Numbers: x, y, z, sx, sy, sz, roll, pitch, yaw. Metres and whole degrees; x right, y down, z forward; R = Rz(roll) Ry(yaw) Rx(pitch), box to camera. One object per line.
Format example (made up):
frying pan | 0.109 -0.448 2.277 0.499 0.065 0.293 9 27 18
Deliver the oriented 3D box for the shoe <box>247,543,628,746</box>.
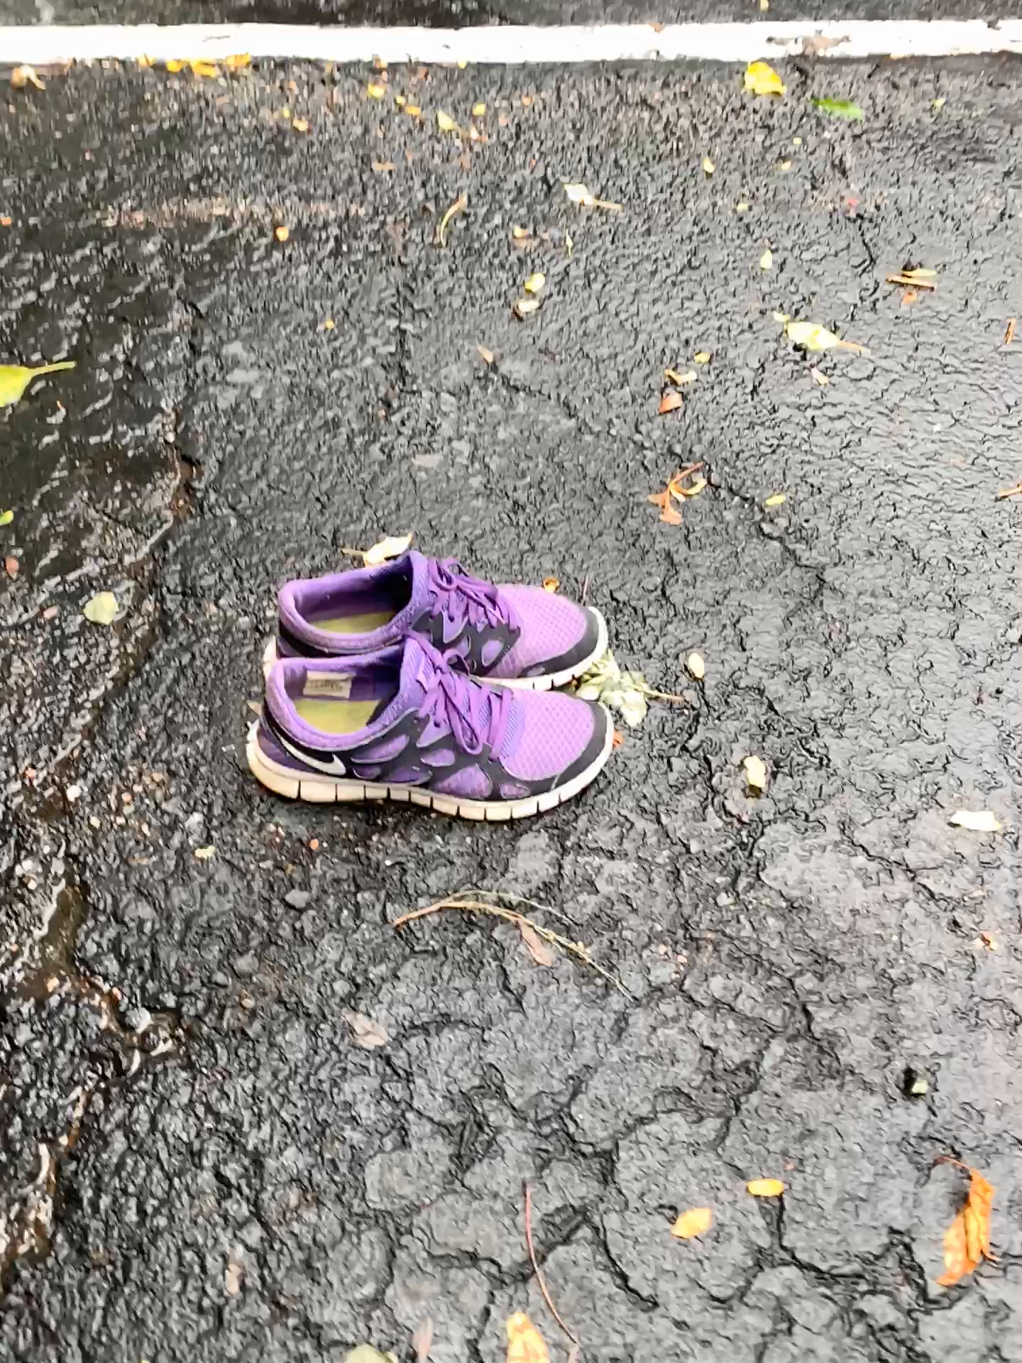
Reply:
shoe | -0.066 -0.028 0.888 0.300 0.100 0.110 5 49 -11

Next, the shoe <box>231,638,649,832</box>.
shoe | -0.057 0.044 0.815 0.300 0.090 0.110 2 49 -9
